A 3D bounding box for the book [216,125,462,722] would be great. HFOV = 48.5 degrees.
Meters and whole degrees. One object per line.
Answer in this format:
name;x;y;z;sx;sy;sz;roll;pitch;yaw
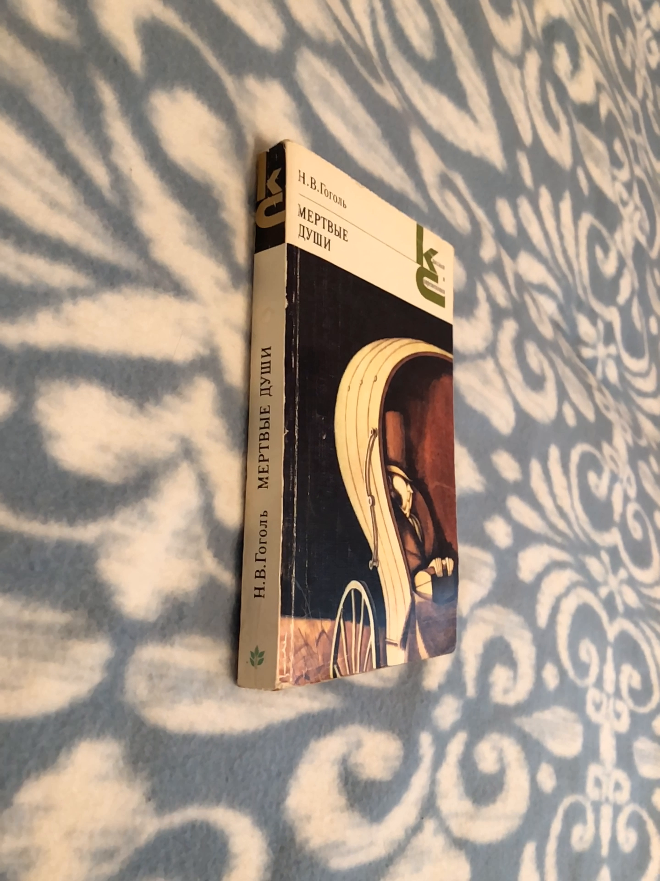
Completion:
book;0.012;-0.003;0.298;0.126;0.024;0.199;12;76;-52
